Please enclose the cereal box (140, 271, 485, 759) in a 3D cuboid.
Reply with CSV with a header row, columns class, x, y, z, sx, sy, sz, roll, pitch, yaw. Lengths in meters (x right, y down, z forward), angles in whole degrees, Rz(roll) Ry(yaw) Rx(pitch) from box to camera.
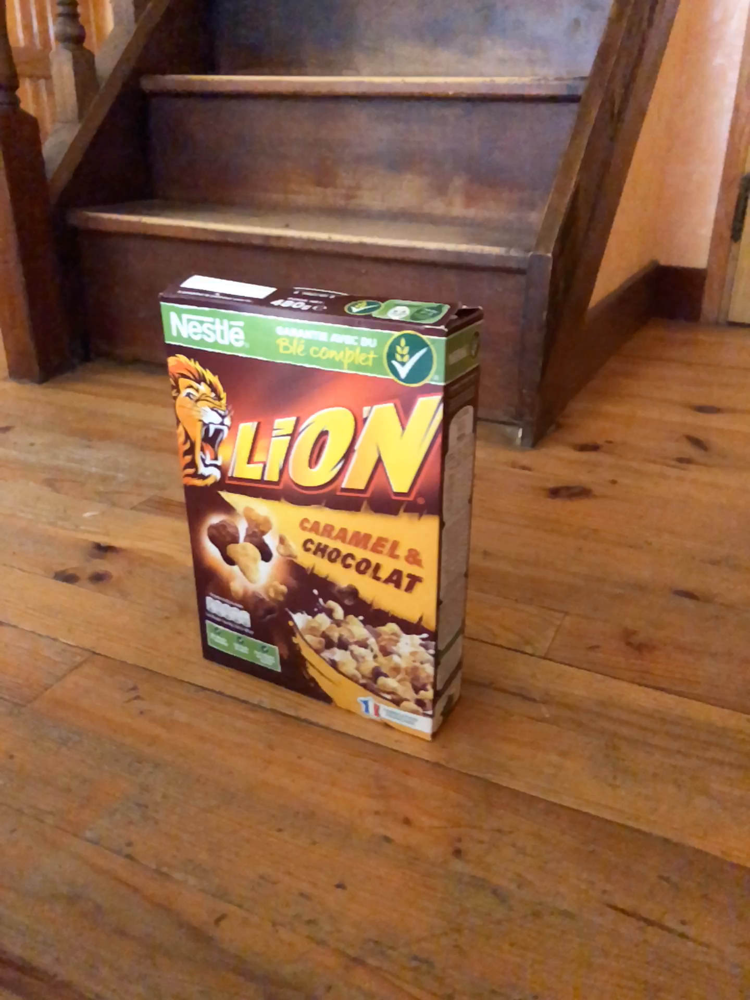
class,x,y,z,sx,sy,sz,roll,pitch,yaw
cereal box,-0.042,0.006,0.537,0.200,0.279,0.060,13,27,26
